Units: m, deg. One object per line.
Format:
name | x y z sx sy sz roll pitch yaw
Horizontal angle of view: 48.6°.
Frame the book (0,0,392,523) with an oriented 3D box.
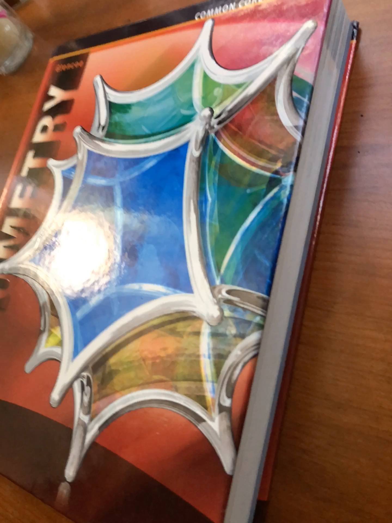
book | -0.031 -0.009 0.258 0.229 0.050 0.310 7 76 35
